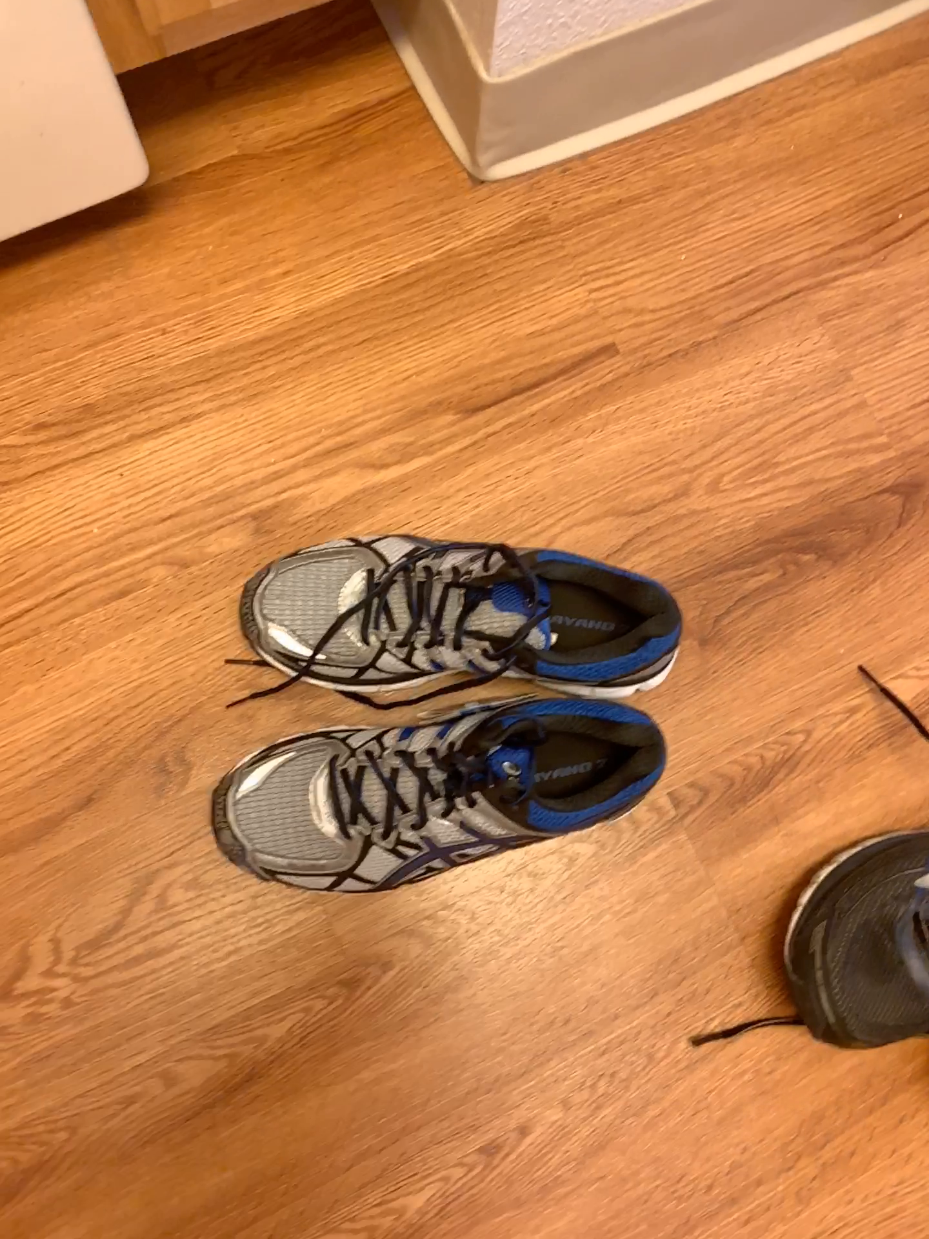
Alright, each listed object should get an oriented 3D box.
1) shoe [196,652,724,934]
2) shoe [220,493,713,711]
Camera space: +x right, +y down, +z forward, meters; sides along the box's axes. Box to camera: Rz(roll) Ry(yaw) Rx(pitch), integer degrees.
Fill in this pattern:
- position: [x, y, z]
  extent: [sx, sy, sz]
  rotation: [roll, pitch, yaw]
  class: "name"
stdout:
- position: [-0.006, 0.109, 0.611]
  extent: [0.290, 0.130, 0.110]
  rotation: [-10, 80, -5]
  class: "shoe"
- position: [0.000, -0.005, 0.614]
  extent: [0.280, 0.130, 0.110]
  rotation: [1, 79, -3]
  class: "shoe"
